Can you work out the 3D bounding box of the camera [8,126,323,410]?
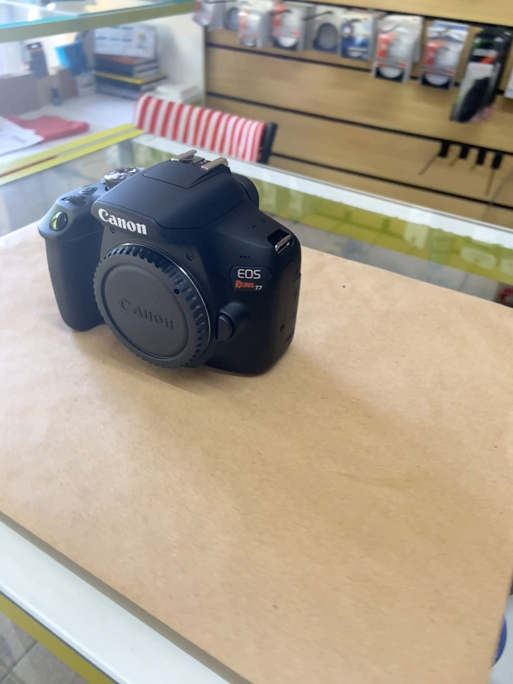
[{"bbox_3d":[-0.044,-0.045,0.278,0.131,0.092,0.072,21,42,23],"label":"camera"}]
